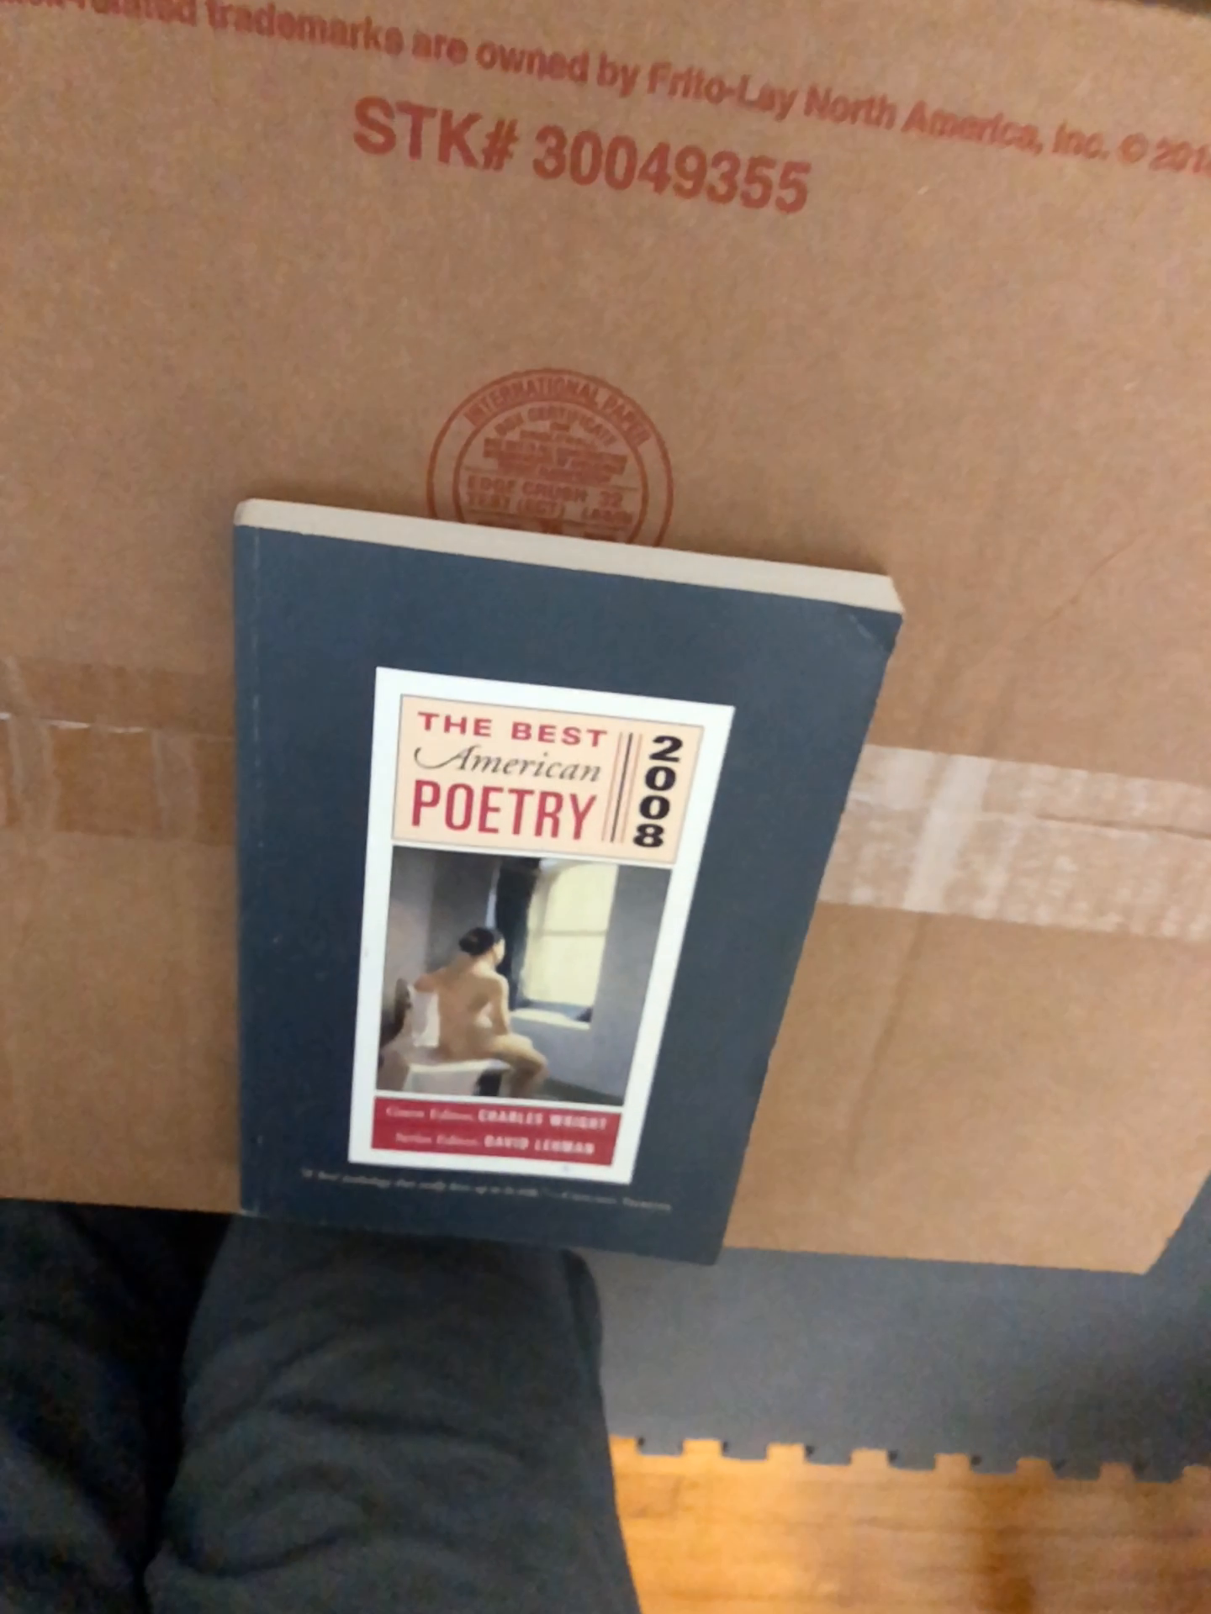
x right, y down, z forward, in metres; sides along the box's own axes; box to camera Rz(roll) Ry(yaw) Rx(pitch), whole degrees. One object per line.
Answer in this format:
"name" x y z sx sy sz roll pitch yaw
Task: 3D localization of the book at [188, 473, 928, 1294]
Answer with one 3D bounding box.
"book" -0.021 0.038 0.343 0.150 0.020 0.231 5 123 -4
